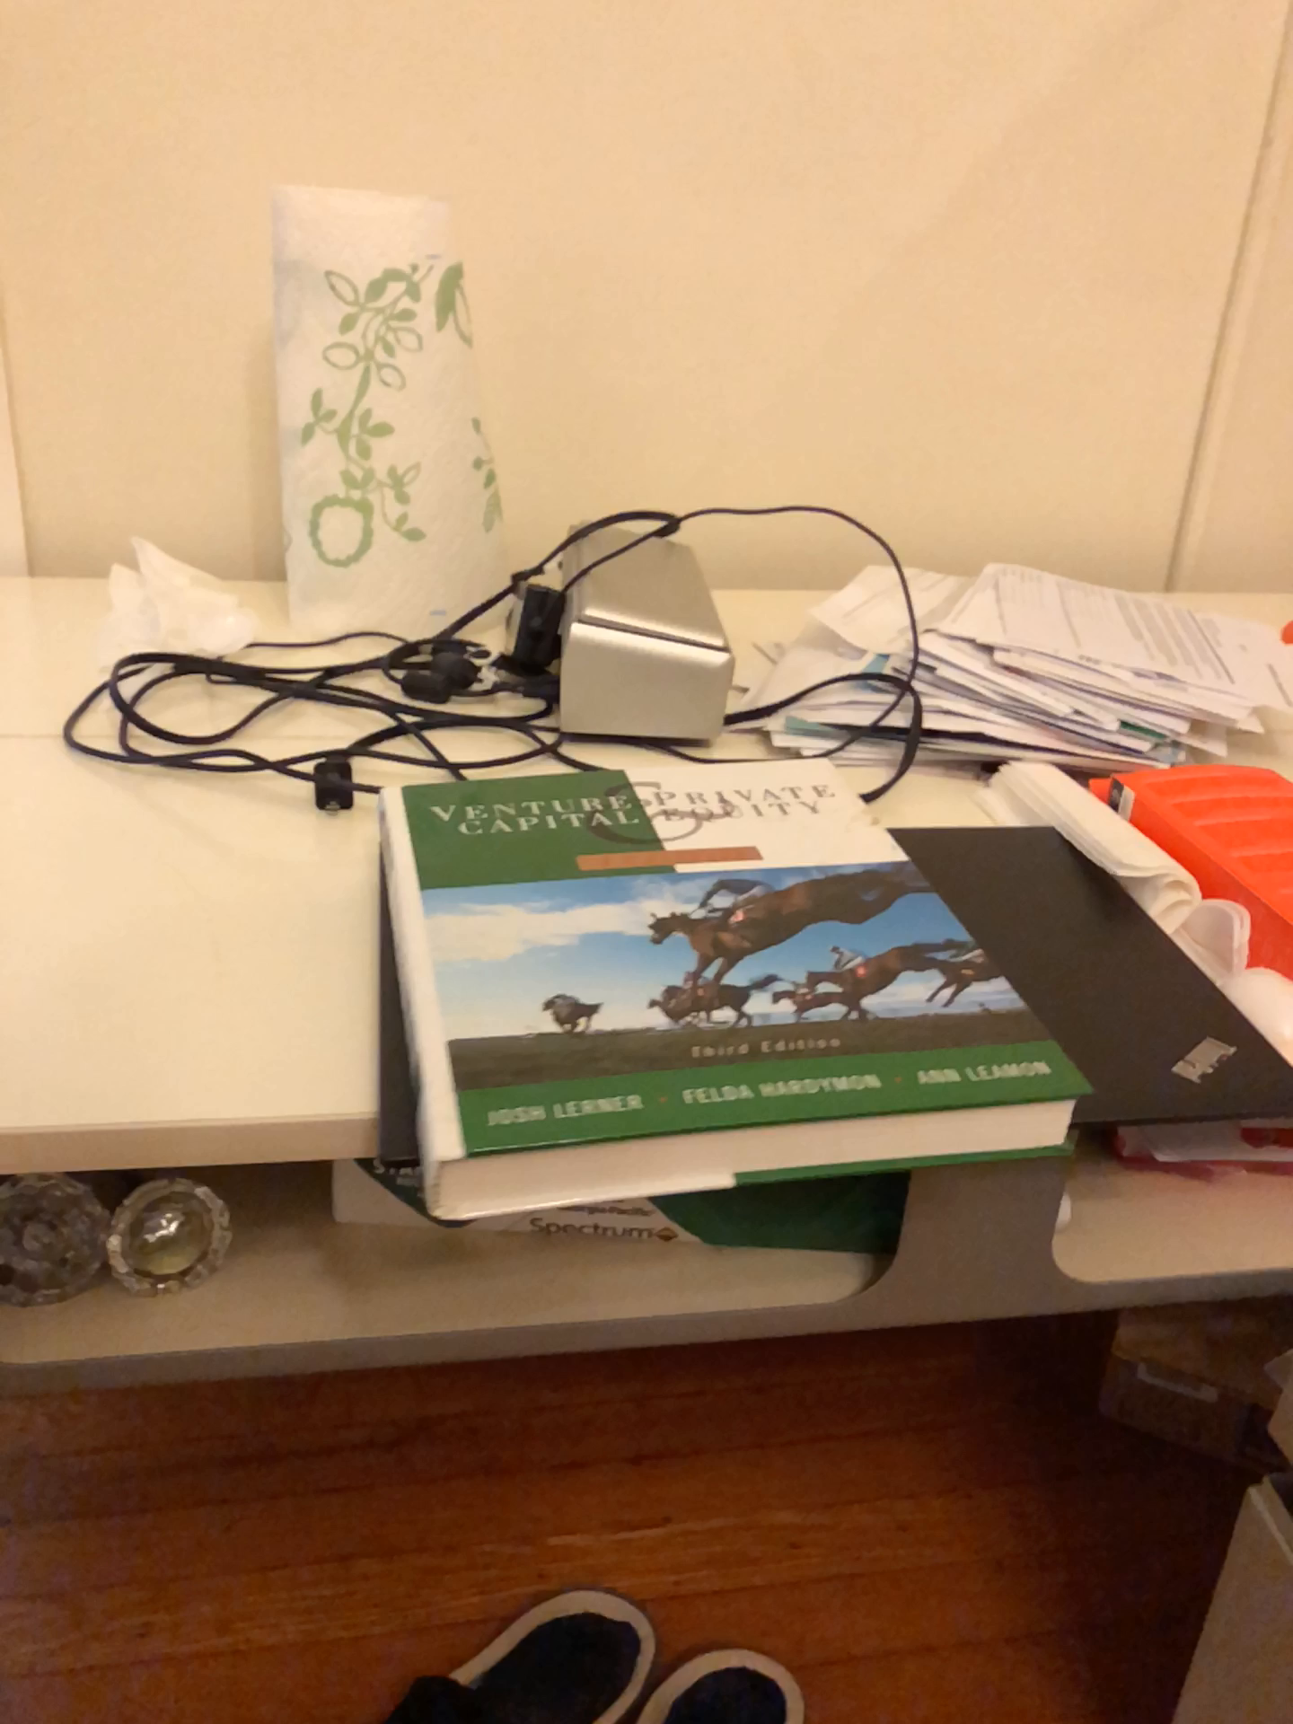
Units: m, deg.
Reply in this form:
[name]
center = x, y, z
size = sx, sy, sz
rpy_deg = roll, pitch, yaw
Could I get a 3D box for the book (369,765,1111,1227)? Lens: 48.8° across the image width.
[book]
center = 0.011, 0.030, 0.558
size = 0.220, 0.030, 0.271
rpy_deg = -2, 27, -14
